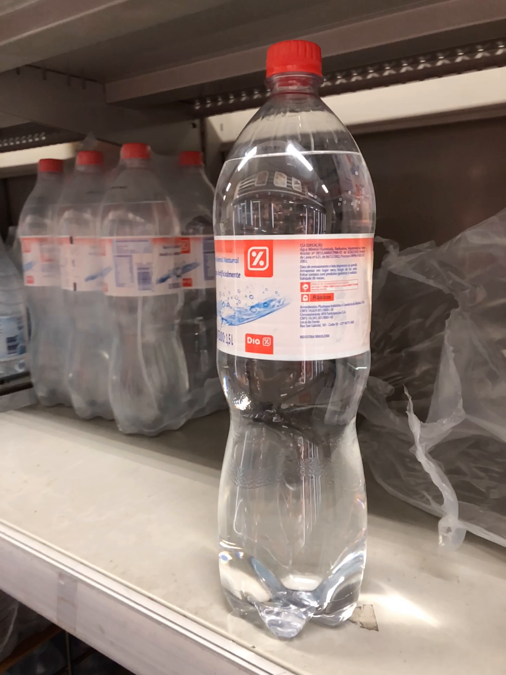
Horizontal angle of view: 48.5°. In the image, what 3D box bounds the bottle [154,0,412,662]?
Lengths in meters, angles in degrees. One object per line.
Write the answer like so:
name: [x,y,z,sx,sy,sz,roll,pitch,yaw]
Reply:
bottle: [0.018,-0.005,0.323,0.100,0.319,0.100,-3,11,1]
